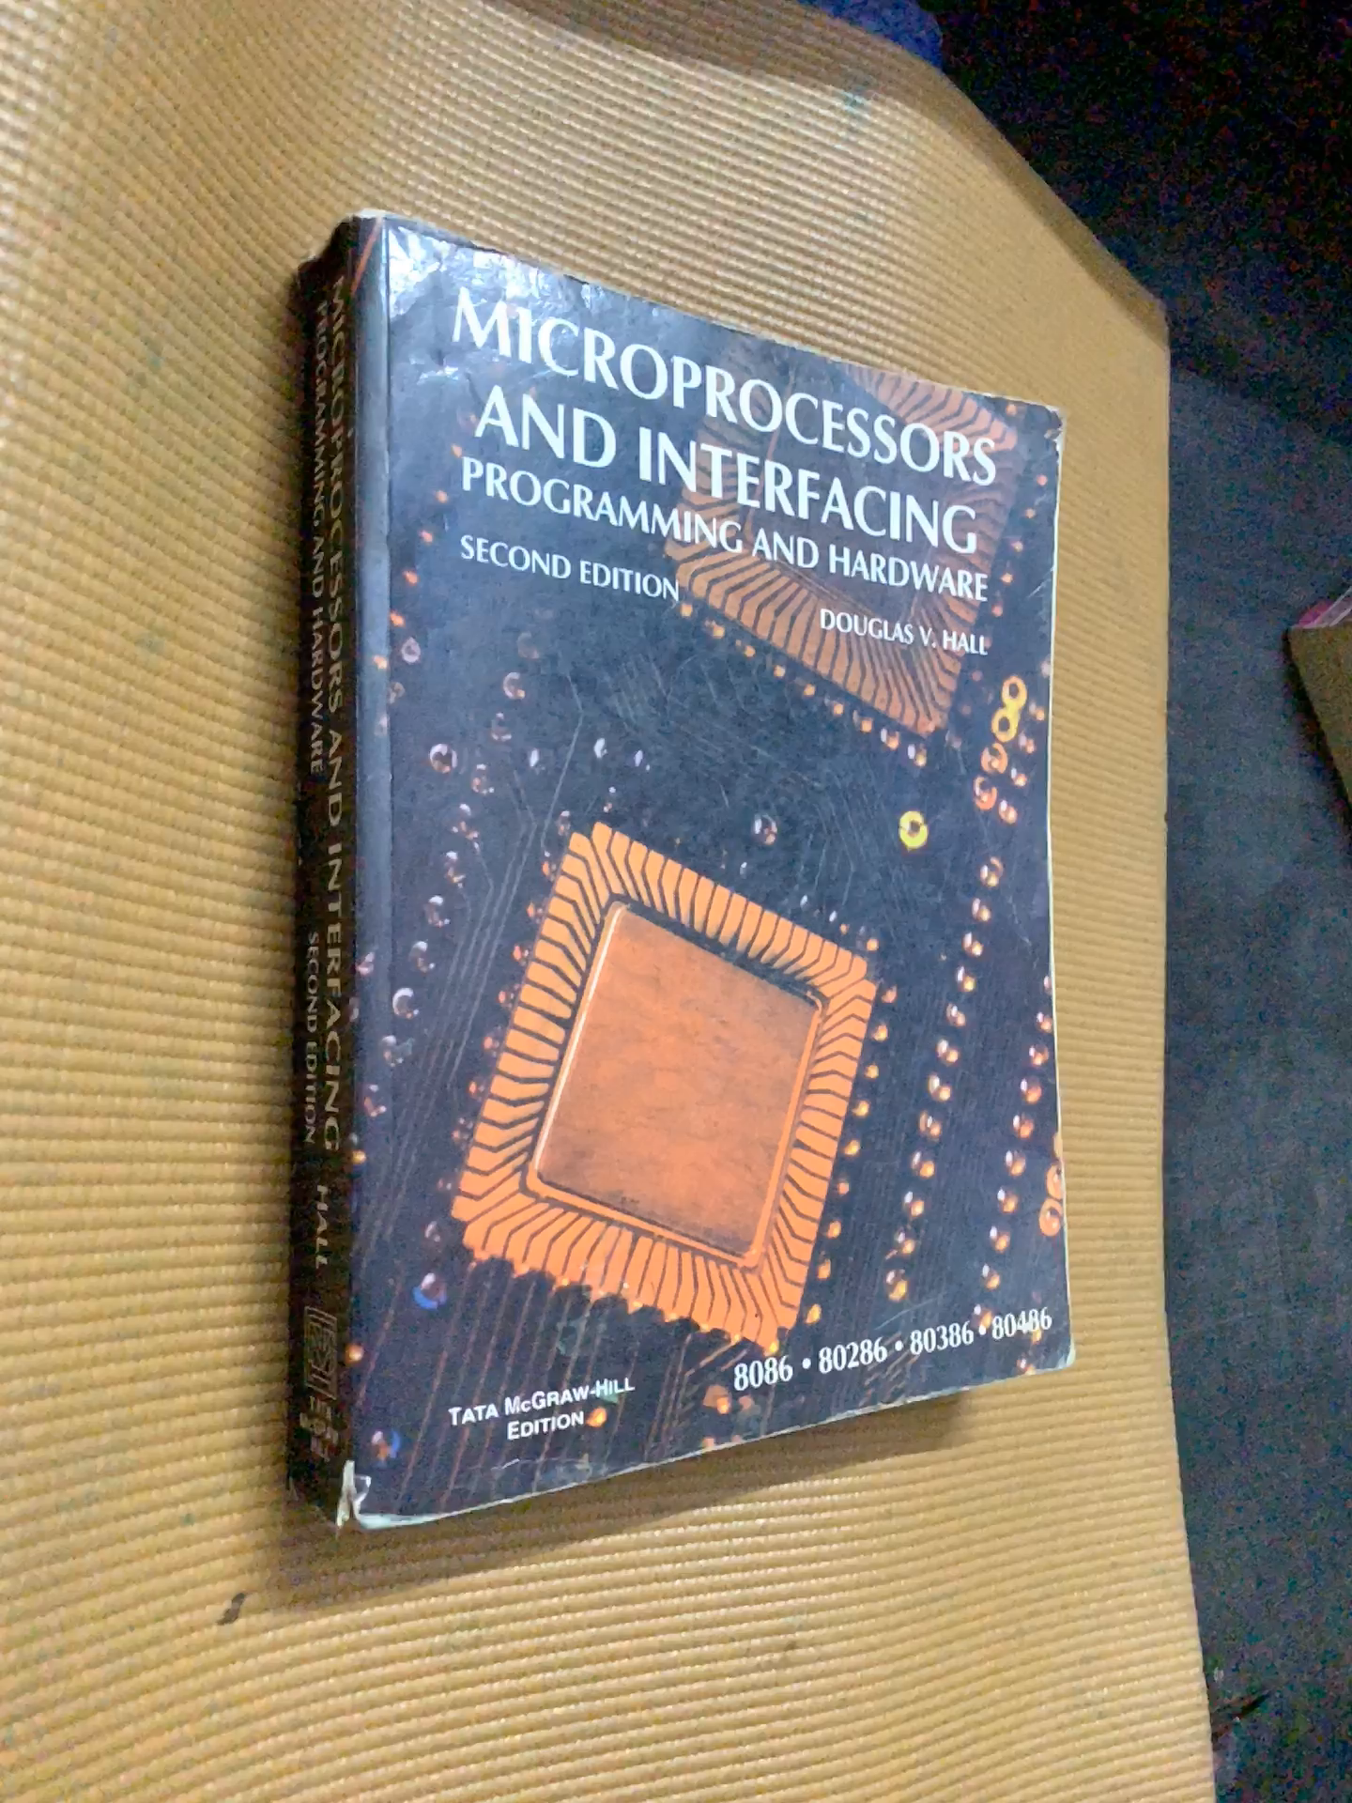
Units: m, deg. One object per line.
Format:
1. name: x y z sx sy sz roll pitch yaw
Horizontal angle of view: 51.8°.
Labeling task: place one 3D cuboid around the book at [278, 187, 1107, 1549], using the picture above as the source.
1. book: 0.017 -0.008 0.437 0.260 0.060 0.338 3 84 -32
